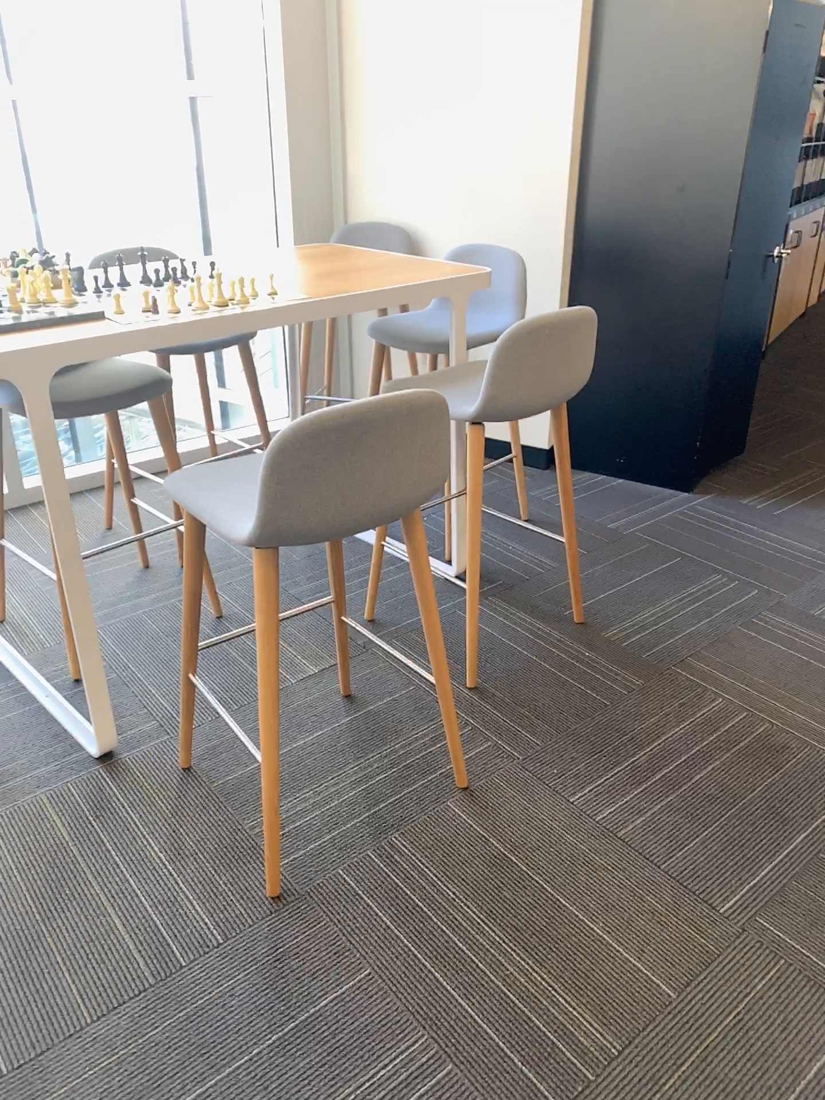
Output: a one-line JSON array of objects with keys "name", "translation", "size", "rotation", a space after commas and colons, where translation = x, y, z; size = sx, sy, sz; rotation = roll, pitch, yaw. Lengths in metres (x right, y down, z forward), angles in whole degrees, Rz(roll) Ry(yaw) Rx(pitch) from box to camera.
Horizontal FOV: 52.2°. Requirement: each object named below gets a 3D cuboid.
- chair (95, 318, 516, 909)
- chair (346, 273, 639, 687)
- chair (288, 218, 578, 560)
[{"name": "chair", "translation": [-0.207, 0.081, 1.723], "size": [0.551, 0.935, 0.553], "rotation": [-18, 32, -33]}, {"name": "chair", "translation": [0.196, -0.227, 2.349], "size": [0.501, 0.935, 0.552], "rotation": [-23, 34, -38]}, {"name": "chair", "translation": [0.054, -0.636, 3.088], "size": [0.621, 0.994, 0.783], "rotation": [-22, 34, -38]}]
